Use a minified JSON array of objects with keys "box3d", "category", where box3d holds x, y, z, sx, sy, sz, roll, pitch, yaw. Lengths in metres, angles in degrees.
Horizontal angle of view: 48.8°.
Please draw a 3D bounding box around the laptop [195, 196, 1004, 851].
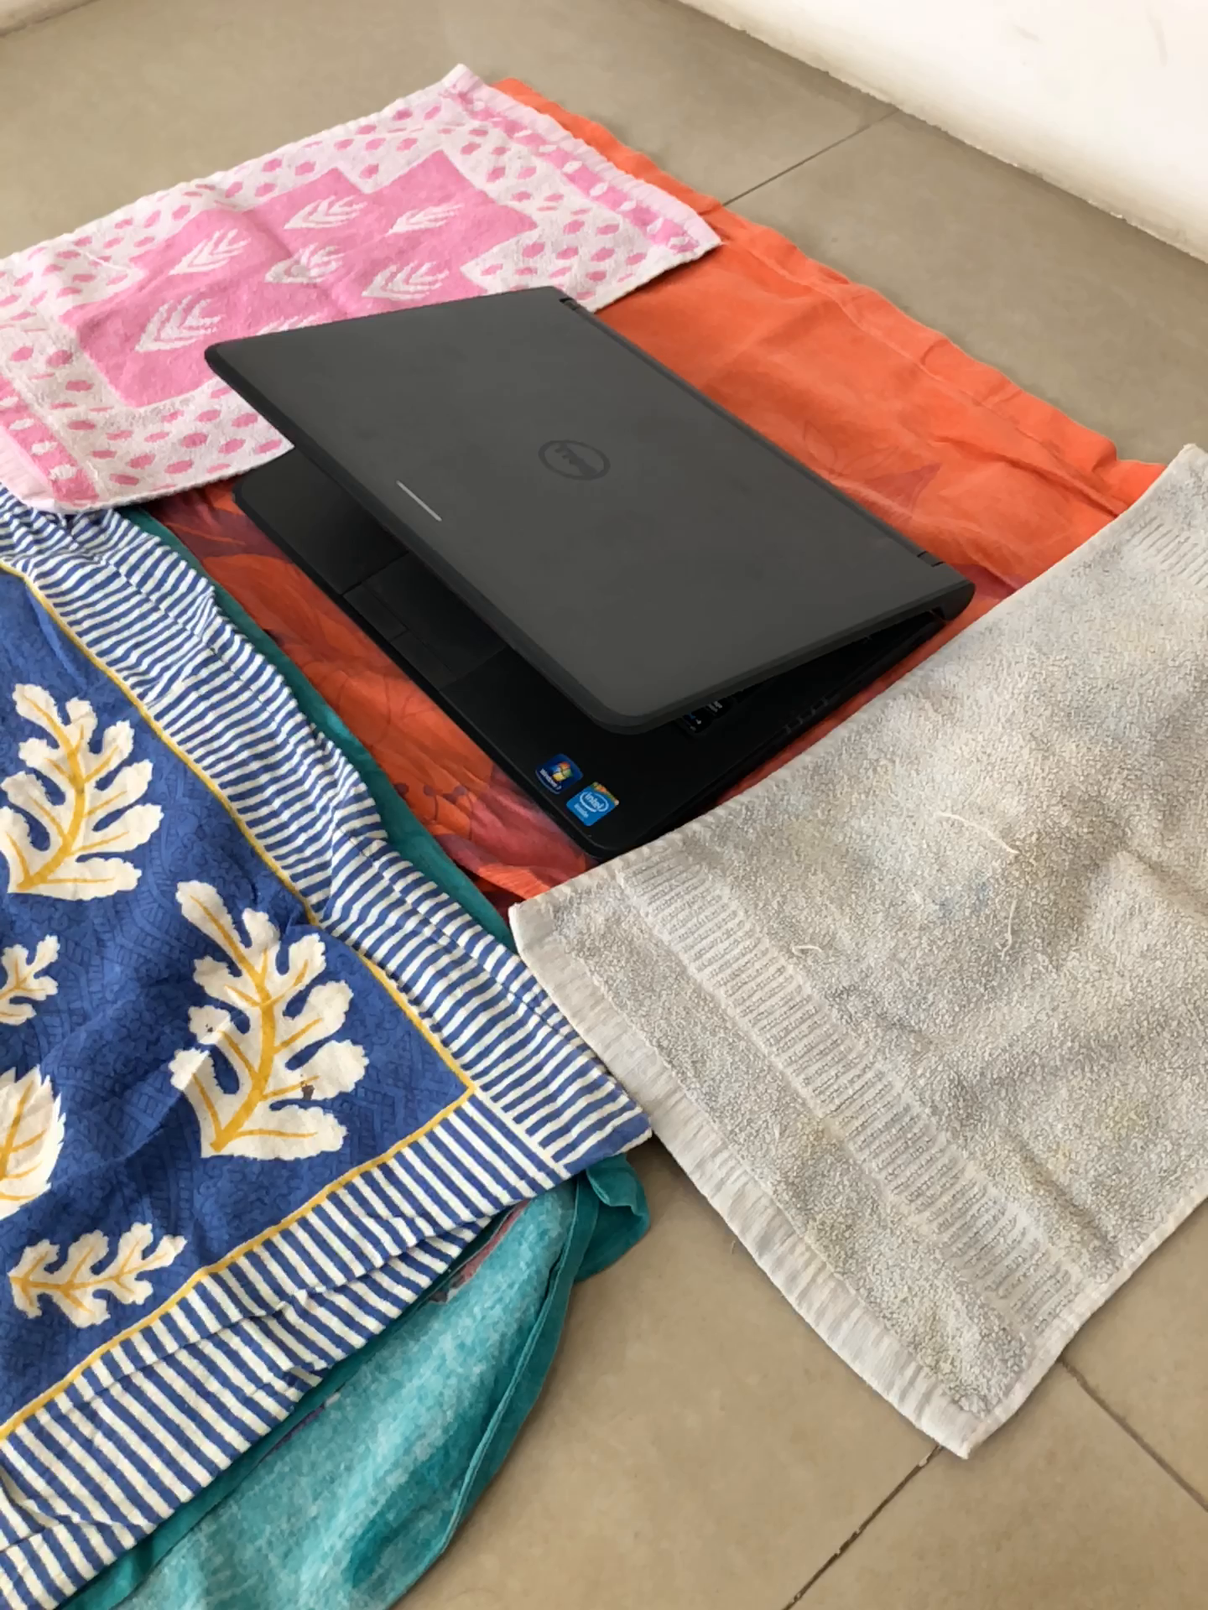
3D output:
[{"box3d":[-0.009,-0.158,0.649,0.227,0.078,0.315,-34,60,-22],"category":"laptop"}]
